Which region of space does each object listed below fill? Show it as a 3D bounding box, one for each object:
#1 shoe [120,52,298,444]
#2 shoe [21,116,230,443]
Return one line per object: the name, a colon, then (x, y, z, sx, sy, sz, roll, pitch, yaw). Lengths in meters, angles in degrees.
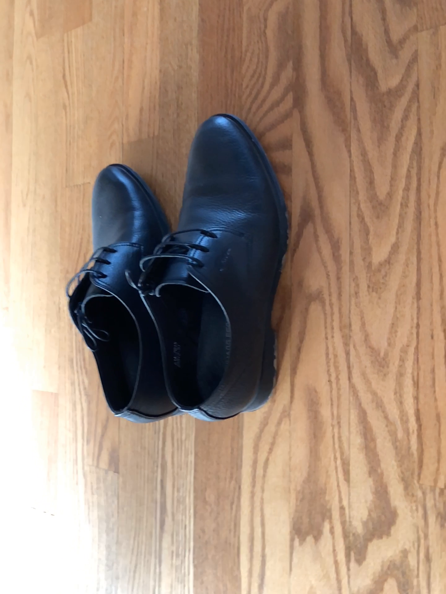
shoe: (-0.009, -0.036, 0.454, 0.110, 0.124, 0.299, -2, 86, 34)
shoe: (-0.108, -0.016, 0.535, 0.110, 0.124, 0.304, -22, 76, 31)
